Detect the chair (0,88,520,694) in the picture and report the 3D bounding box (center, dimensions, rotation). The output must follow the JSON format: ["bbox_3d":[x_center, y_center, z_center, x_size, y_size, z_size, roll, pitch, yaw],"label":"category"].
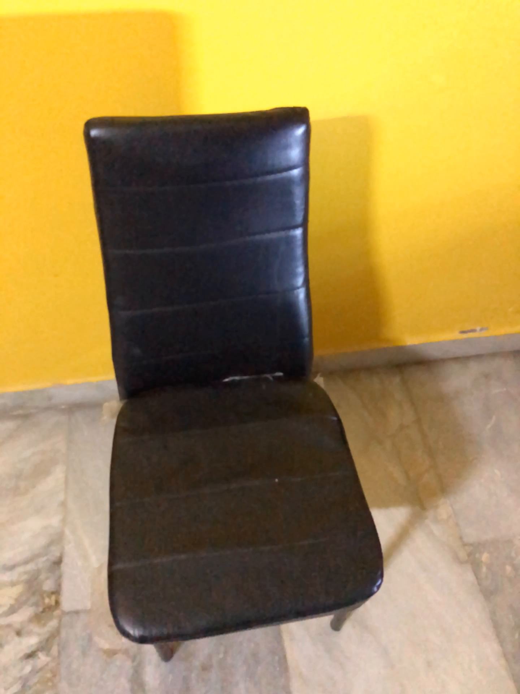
[{"bbox_3d":[-0.039,0.171,0.917,0.480,0.905,0.533,-6,54,-7],"label":"chair"}]
